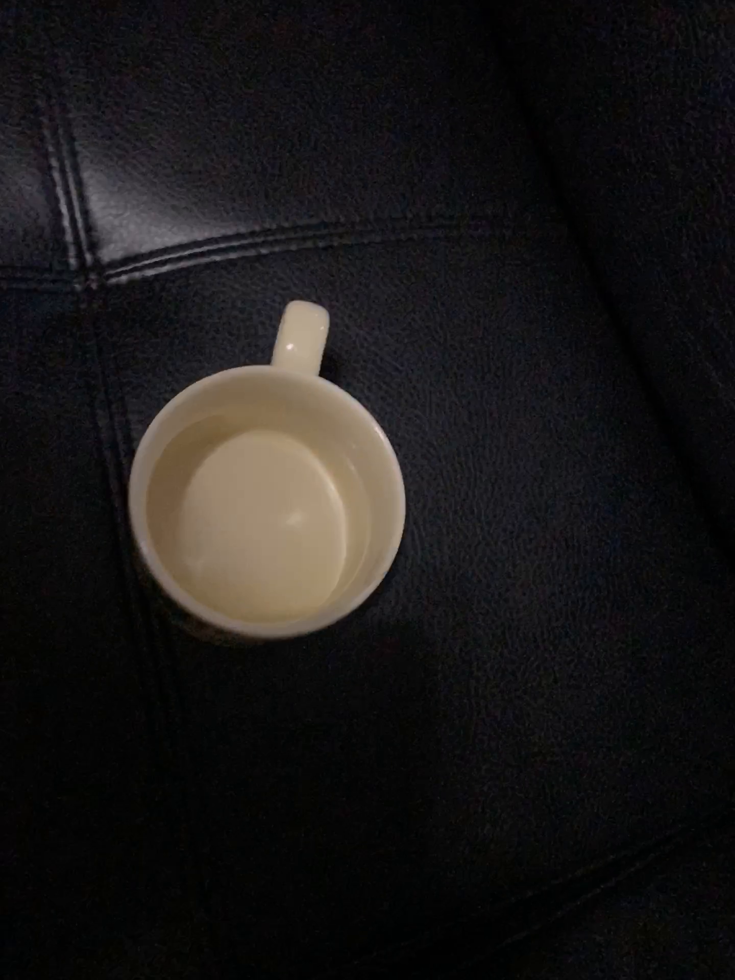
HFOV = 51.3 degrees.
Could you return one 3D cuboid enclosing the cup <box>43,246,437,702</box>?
[{"bbox_3d":[-0.038,-0.001,0.251,0.090,0.060,0.119,15,69,-12],"label":"cup"}]
